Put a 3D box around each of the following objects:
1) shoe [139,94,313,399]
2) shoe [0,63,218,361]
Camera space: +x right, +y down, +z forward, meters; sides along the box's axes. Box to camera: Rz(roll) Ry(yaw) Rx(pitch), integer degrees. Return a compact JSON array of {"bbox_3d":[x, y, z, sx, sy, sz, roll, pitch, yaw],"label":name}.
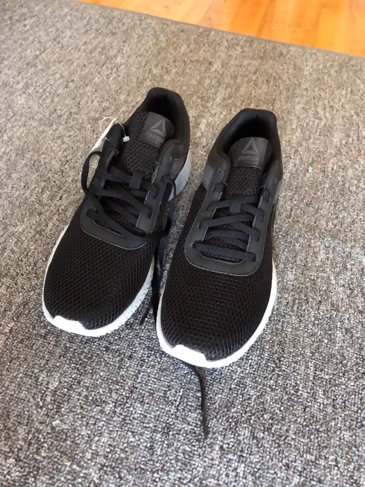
[{"bbox_3d":[0.057,-0.019,0.417,0.110,0.099,0.302,13,52,6],"label":"shoe"},{"bbox_3d":[-0.059,-0.055,0.414,0.116,0.099,0.302,15,53,8],"label":"shoe"}]
